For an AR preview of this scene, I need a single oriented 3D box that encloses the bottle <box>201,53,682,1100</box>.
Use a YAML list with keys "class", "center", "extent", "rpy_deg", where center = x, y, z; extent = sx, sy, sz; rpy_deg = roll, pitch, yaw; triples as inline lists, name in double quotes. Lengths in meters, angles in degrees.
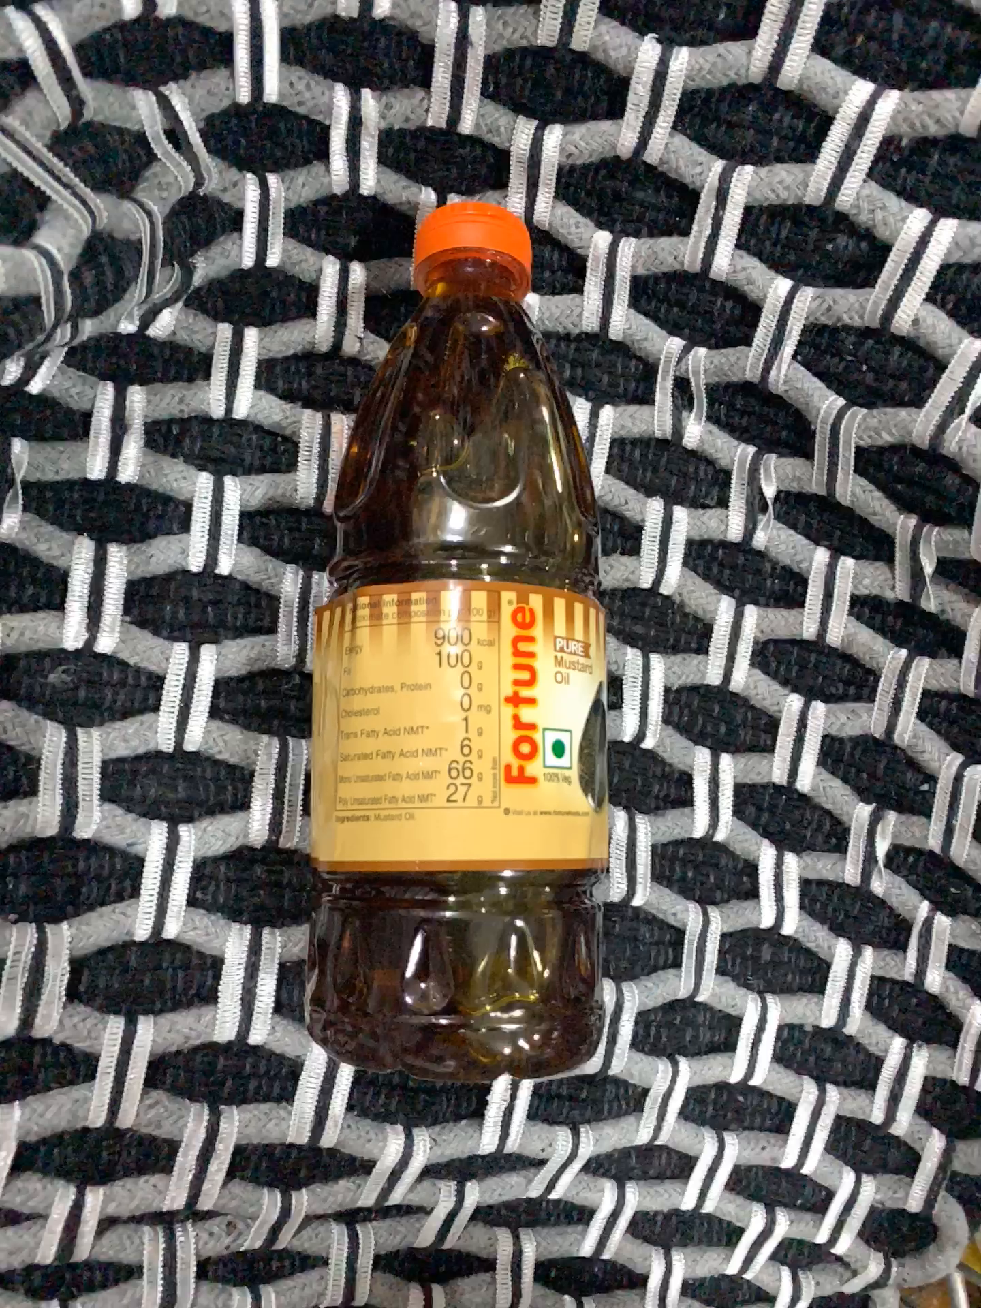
- class: "bottle"
  center: [-0.008, -0.016, 0.254]
  extent: [0.080, 0.080, 0.220]
  rpy_deg: [-7, 75, 23]
